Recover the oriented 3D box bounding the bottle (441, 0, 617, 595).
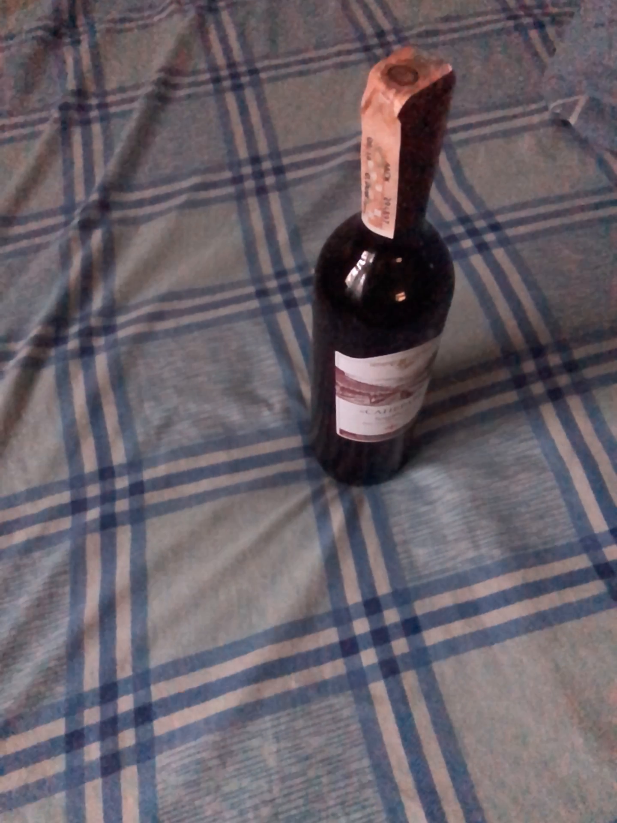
[{"bbox_3d":[0.110,-0.017,0.263,0.081,0.305,0.071,7,59,9],"label":"bottle"}]
